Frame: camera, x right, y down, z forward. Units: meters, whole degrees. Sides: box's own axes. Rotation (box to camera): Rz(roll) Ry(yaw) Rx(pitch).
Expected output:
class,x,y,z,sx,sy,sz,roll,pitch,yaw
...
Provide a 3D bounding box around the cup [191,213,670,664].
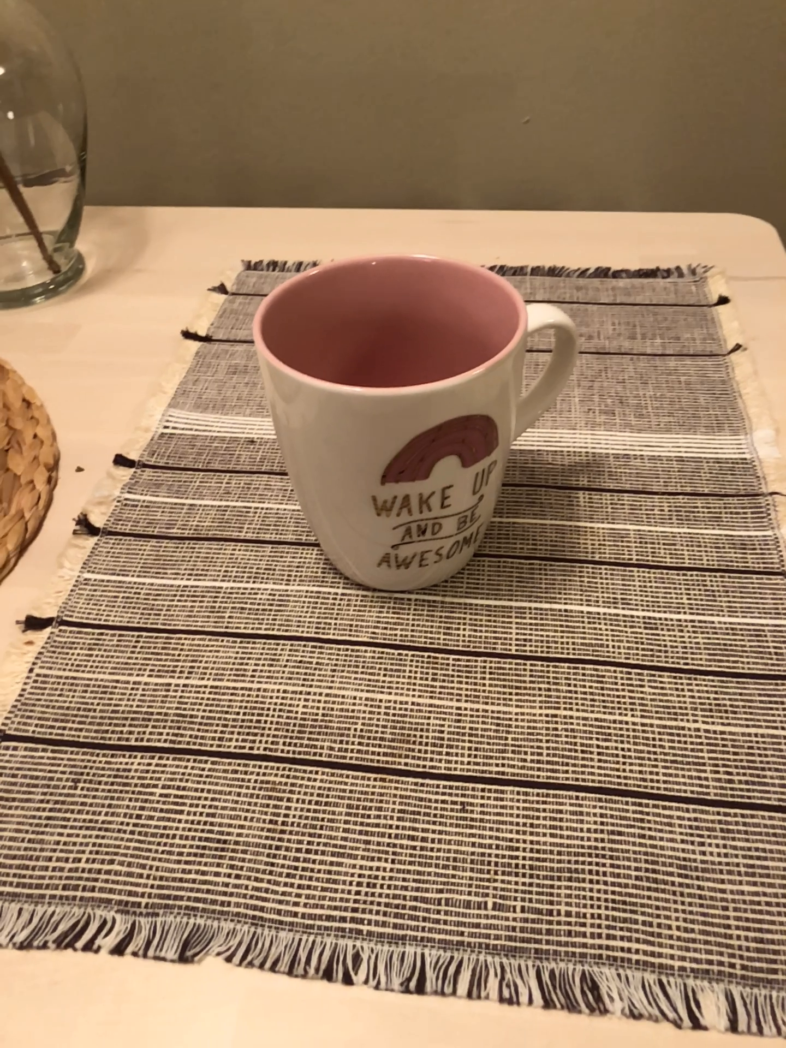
class,x,y,z,sx,sy,sz,roll,pitch,yaw
cup,0.014,-0.046,0.399,0.160,0.119,0.120,-21,45,-19
